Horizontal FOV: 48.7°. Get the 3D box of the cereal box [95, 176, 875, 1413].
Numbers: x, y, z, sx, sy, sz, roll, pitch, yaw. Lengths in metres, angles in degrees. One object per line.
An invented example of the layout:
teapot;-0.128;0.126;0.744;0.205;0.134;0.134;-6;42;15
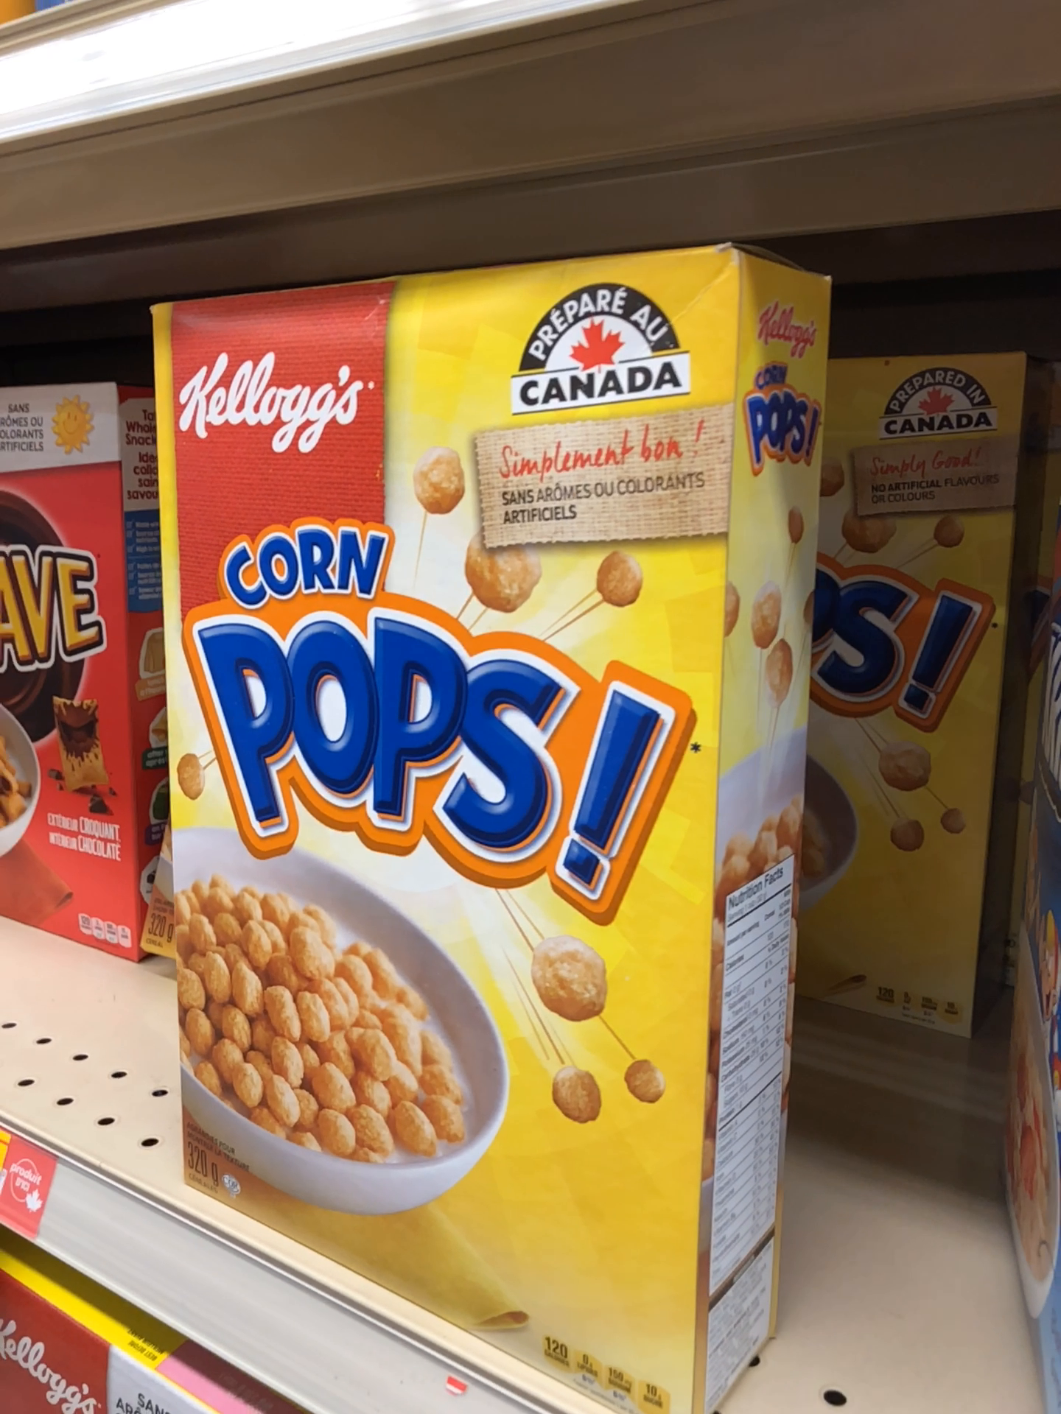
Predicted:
cereal box;-0.024;0.022;0.335;0.210;0.289;0.060;8;14;35
